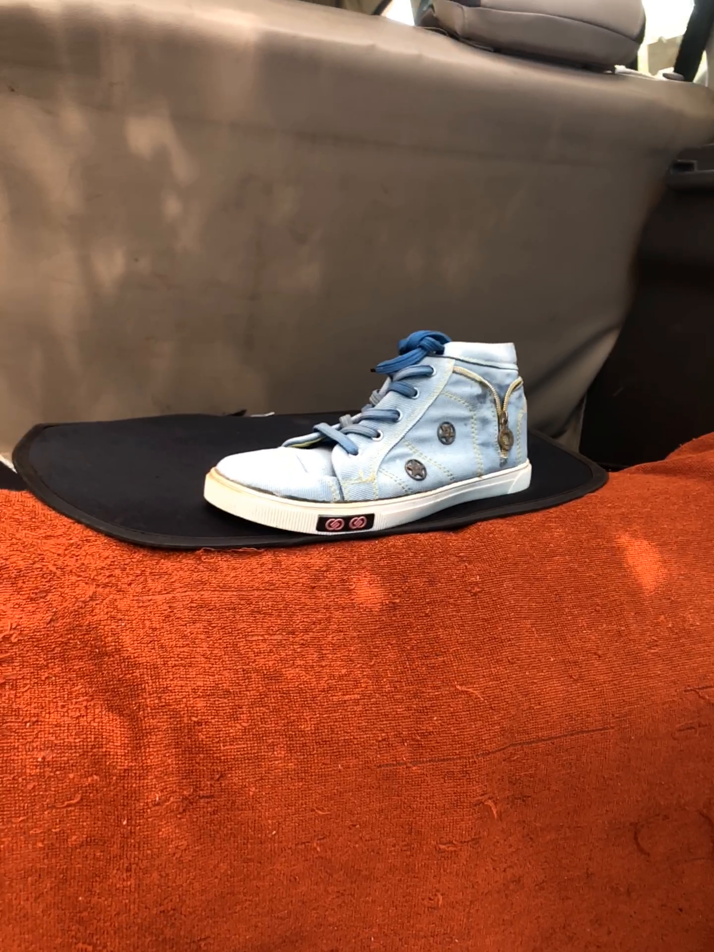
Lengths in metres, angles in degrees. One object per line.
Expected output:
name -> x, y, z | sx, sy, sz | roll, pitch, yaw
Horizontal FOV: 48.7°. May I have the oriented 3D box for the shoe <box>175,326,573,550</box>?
shoe -> 0.018, -0.041, 0.558 | 0.261, 0.110, 0.110 | -9, 22, -37
